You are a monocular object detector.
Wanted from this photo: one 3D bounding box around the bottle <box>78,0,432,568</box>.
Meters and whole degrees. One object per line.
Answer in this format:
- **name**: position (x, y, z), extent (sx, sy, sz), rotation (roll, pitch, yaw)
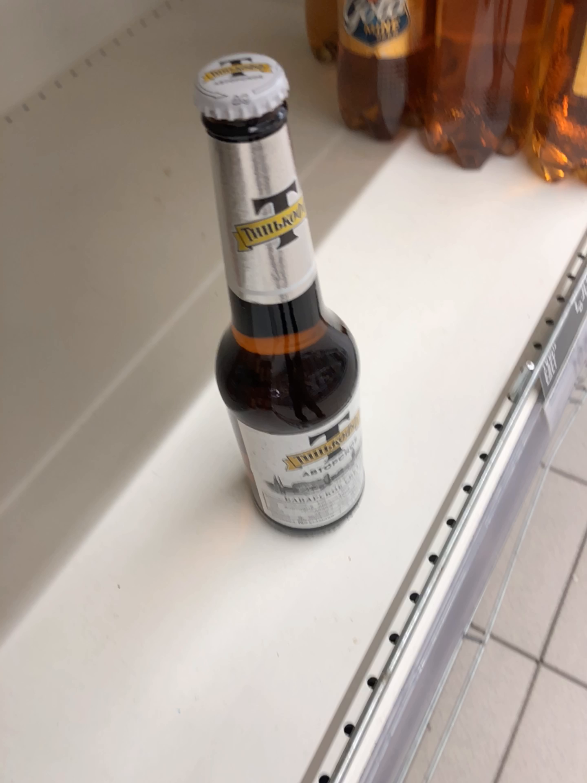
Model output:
- **bottle**: position (-0.001, -0.018, 0.291), extent (0.080, 0.249, 0.070), rotation (-32, 56, -16)
